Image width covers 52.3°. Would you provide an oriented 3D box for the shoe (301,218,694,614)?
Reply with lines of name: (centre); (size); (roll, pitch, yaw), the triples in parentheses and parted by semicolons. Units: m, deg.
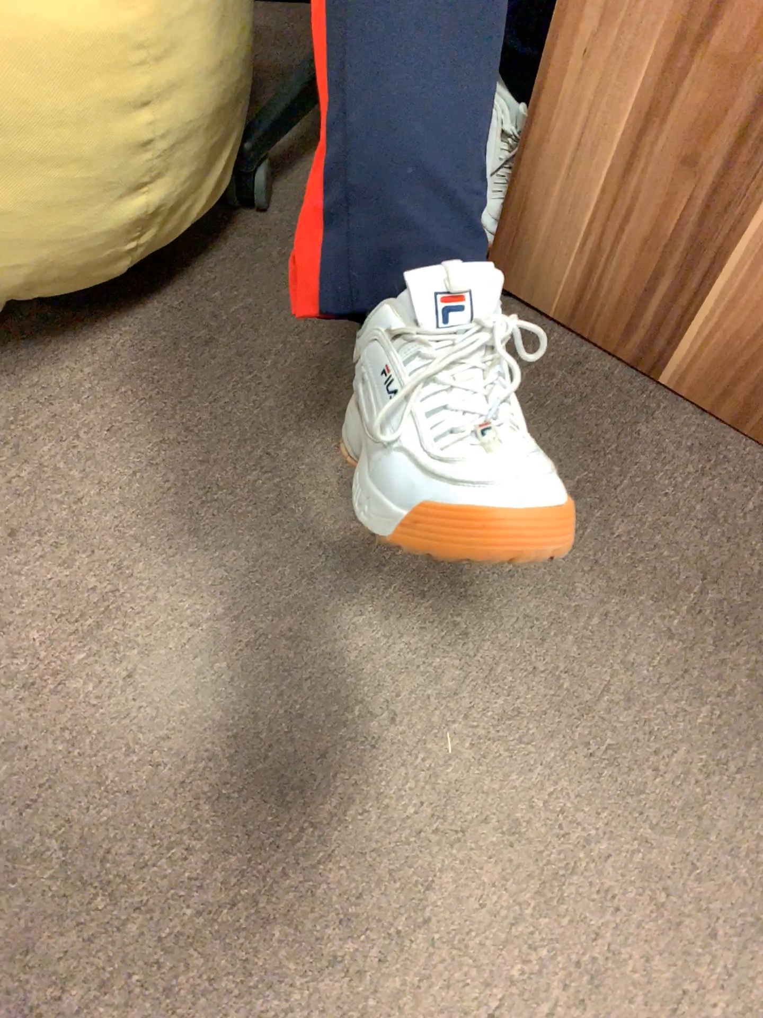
shoe: (0.041, -0.068, 0.458); (0.130, 0.130, 0.231); (-1, 35, -16)
